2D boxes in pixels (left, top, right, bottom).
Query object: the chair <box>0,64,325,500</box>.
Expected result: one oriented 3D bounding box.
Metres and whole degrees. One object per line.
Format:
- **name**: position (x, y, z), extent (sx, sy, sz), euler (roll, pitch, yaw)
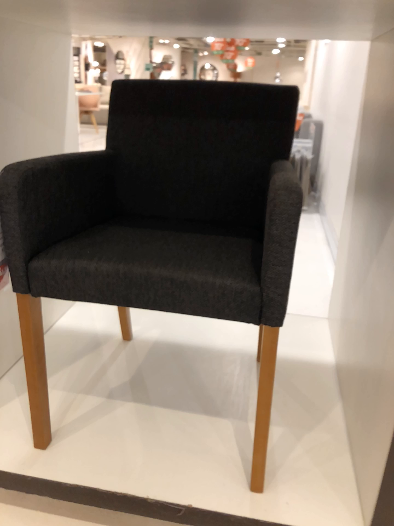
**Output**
- **chair**: position (-0.060, -0.018, 1.059), extent (0.560, 0.795, 0.564), euler (7, 22, 9)
